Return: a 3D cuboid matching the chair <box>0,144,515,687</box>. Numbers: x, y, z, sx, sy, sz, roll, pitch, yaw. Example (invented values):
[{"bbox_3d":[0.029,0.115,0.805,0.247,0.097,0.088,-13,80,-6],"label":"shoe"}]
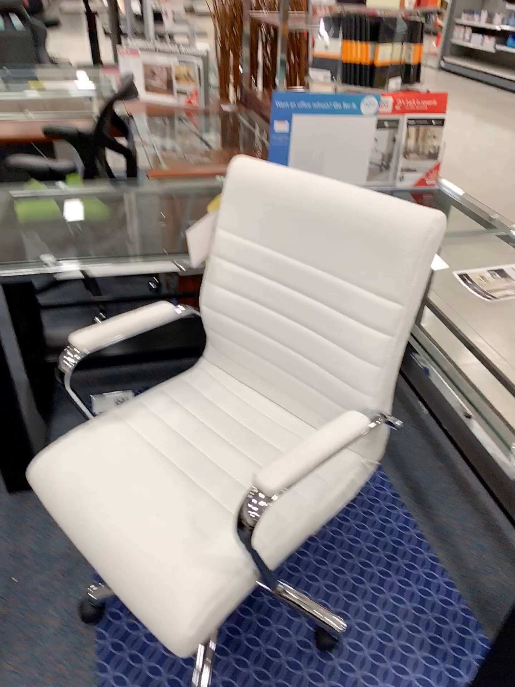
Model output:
[{"bbox_3d":[-0.044,0.209,1.085,0.616,0.963,0.663,28,43,31],"label":"chair"}]
